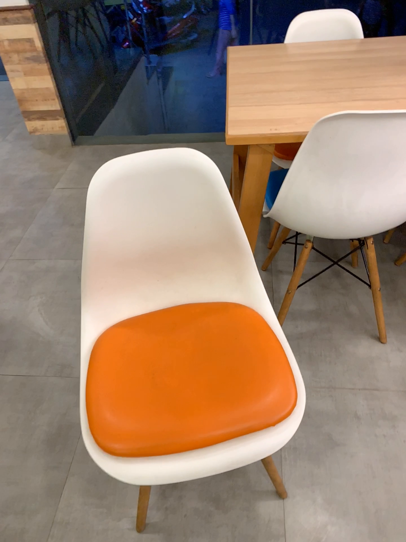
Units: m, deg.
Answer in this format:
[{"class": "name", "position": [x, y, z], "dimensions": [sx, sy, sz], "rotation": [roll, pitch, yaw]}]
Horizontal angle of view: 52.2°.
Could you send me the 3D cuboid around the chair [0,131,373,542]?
[{"class": "chair", "position": [-0.039, 0.167, 0.895], "dimensions": [0.470, 0.704, 0.484], "rotation": [-9, 42, -4]}]
